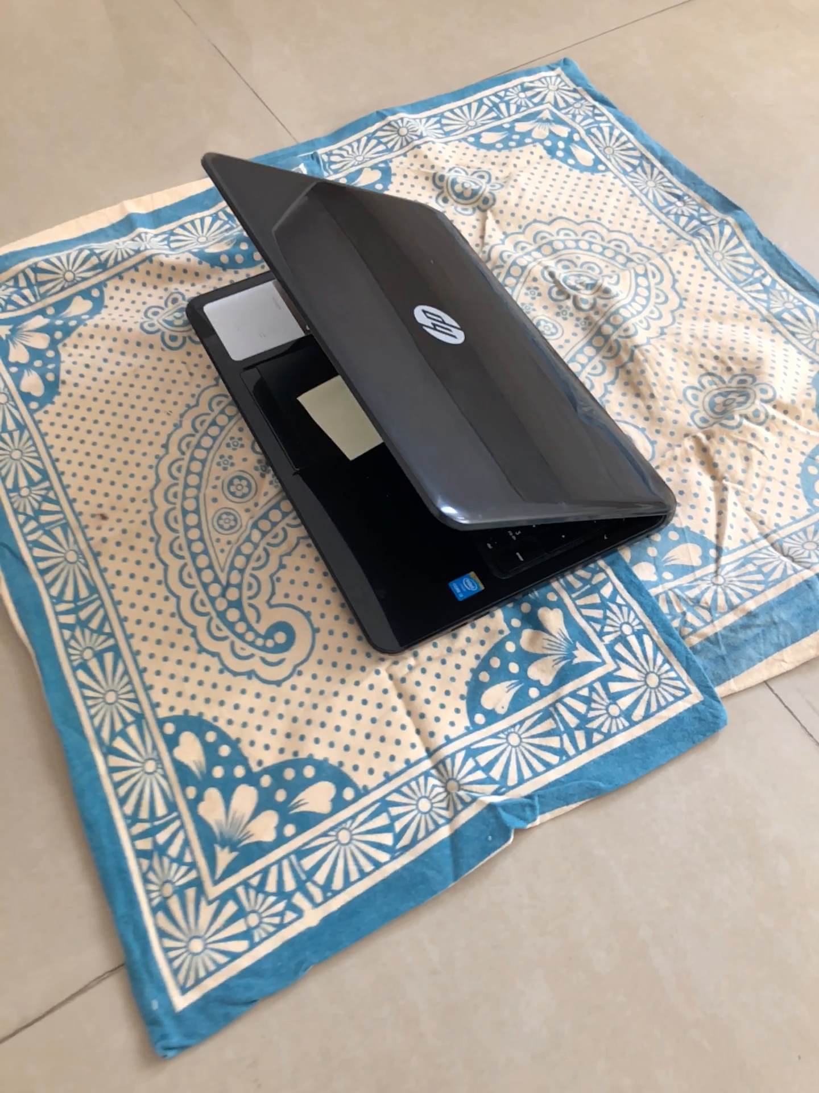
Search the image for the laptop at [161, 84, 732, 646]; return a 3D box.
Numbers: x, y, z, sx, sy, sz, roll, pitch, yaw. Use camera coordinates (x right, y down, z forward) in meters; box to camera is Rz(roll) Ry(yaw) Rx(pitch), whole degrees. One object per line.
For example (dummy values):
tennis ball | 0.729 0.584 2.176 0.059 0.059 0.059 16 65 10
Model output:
laptop | 0.008 -0.152 0.659 0.237 0.151 0.364 -23 60 -16
